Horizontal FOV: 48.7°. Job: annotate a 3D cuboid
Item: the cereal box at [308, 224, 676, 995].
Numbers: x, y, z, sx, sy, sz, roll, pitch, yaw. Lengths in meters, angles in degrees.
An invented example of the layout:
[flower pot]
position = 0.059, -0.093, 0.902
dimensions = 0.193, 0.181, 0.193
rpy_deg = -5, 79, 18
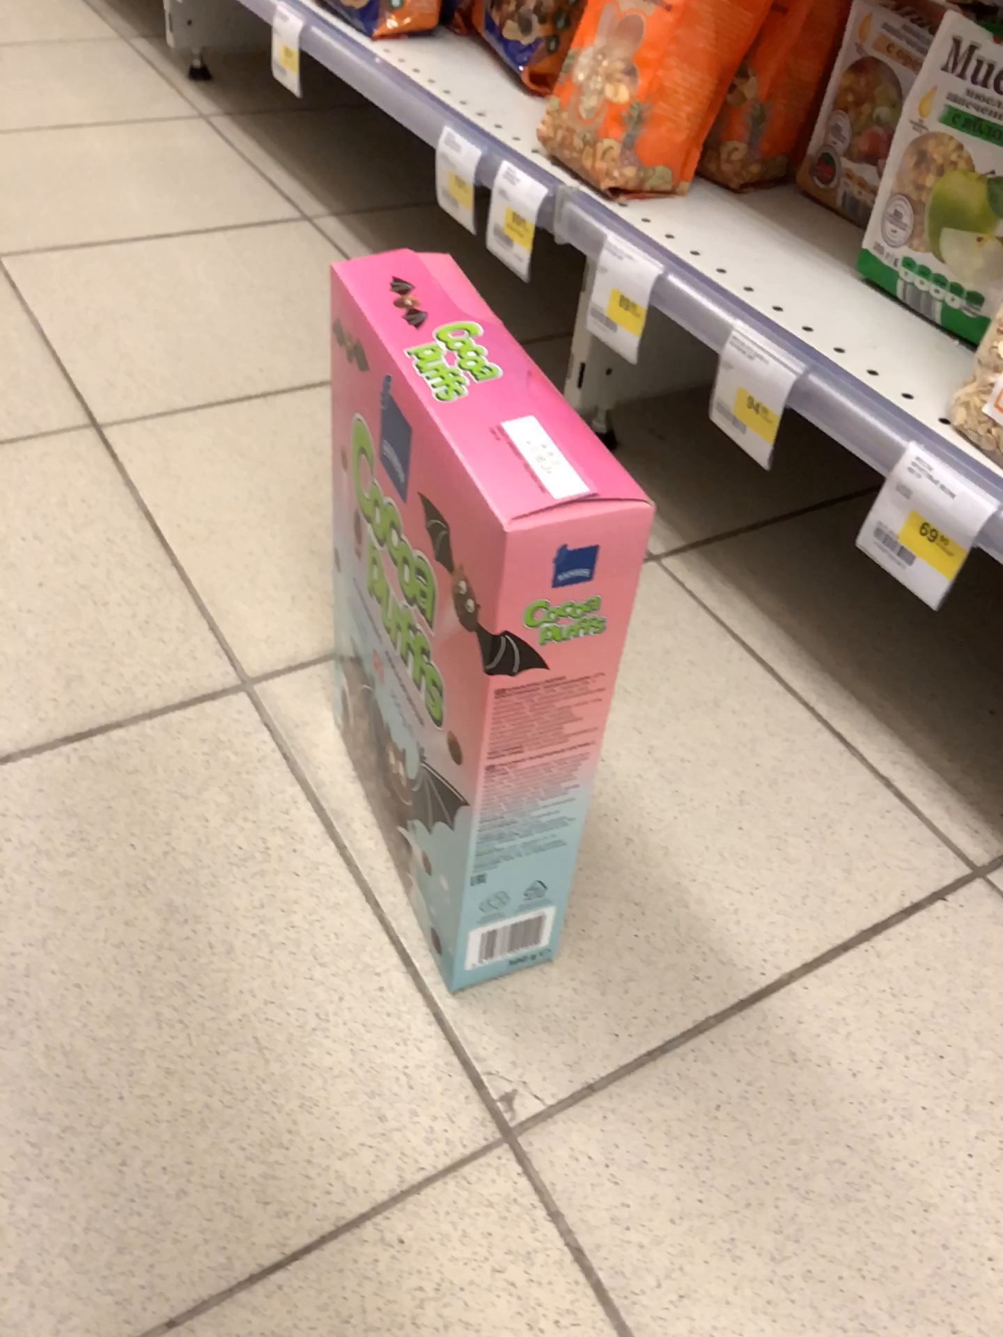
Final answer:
[cereal box]
position = -0.026, -0.022, 0.499
dimensions = 0.060, 0.268, 0.211
rpy_deg = -12, 47, -20
